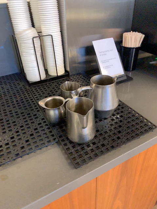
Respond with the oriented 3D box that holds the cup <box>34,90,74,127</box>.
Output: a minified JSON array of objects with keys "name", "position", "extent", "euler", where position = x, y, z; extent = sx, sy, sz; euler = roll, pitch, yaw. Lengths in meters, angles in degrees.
[{"name":"cup","position":[-0.078,0.011,0.506],"extent":[0.110,0.070,0.070],"euler":[-9,35,-9]}]

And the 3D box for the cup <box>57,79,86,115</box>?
[{"name":"cup","position":[-0.025,-0.030,0.562],"extent":[0.070,0.070,0.111],"euler":[-12,35,-13]}]

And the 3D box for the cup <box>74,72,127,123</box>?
[{"name":"cup","position":[0.068,-0.027,0.548],"extent":[0.140,0.119,0.101],"euler":[-10,35,-10]}]

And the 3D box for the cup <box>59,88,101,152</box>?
[{"name":"cup","position":[0.002,0.040,0.465],"extent":[0.080,0.119,0.121],"euler":[-12,35,-14]}]
